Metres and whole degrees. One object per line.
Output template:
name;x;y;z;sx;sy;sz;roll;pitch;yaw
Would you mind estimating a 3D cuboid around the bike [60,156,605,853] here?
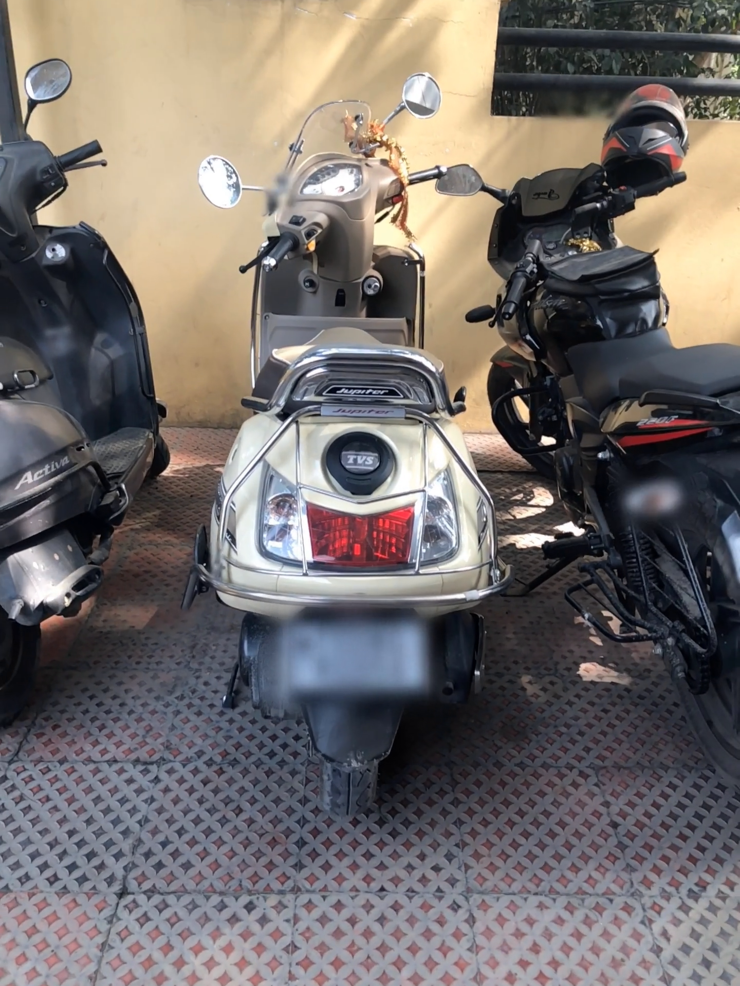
bike;-0.184;-0.194;1.901;0.644;0.999;1.635;-2;26;-8
